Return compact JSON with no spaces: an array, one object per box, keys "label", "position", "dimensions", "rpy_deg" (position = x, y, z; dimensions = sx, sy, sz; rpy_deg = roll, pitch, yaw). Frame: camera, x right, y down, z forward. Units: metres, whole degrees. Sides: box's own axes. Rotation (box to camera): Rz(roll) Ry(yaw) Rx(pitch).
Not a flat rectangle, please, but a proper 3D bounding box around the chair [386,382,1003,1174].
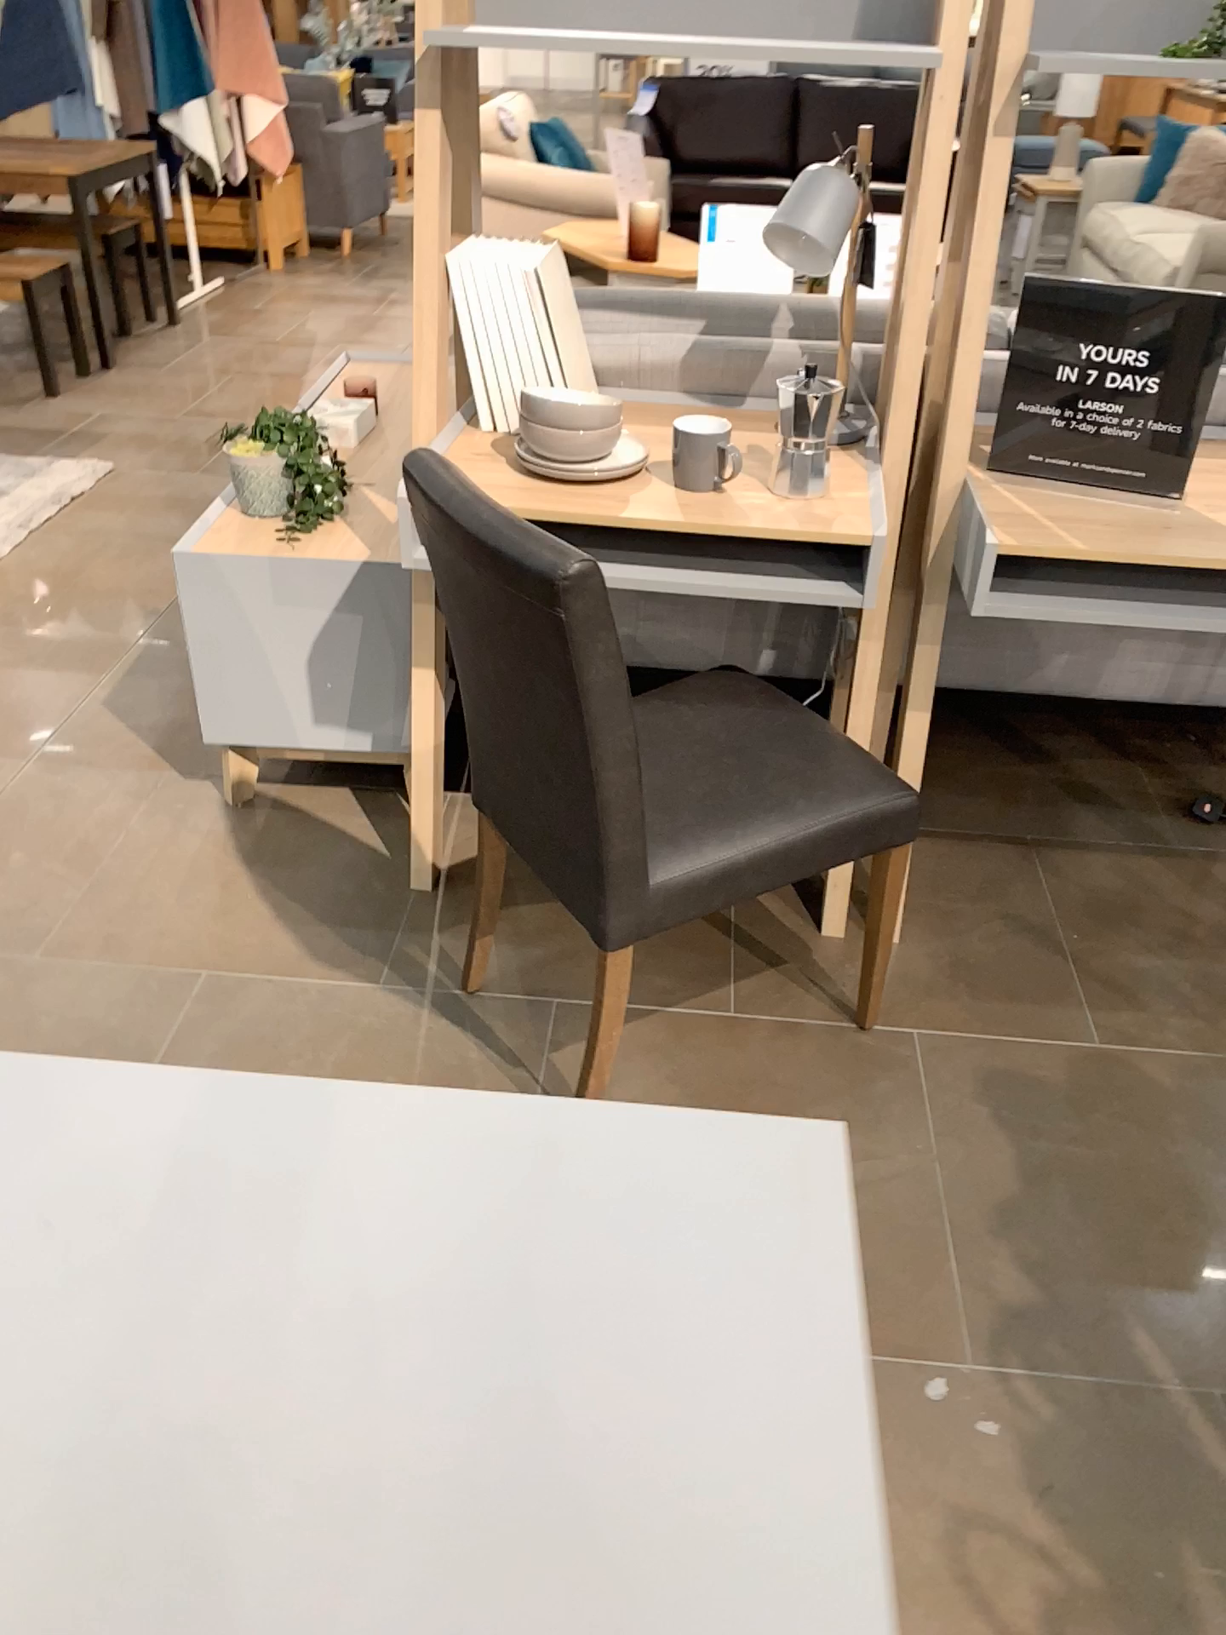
[{"label":"chair","position":[0.079,-0.075,1.772],"dimensions":[0.606,0.886,0.460],"rpy_deg":[-17,38,-27]}]
